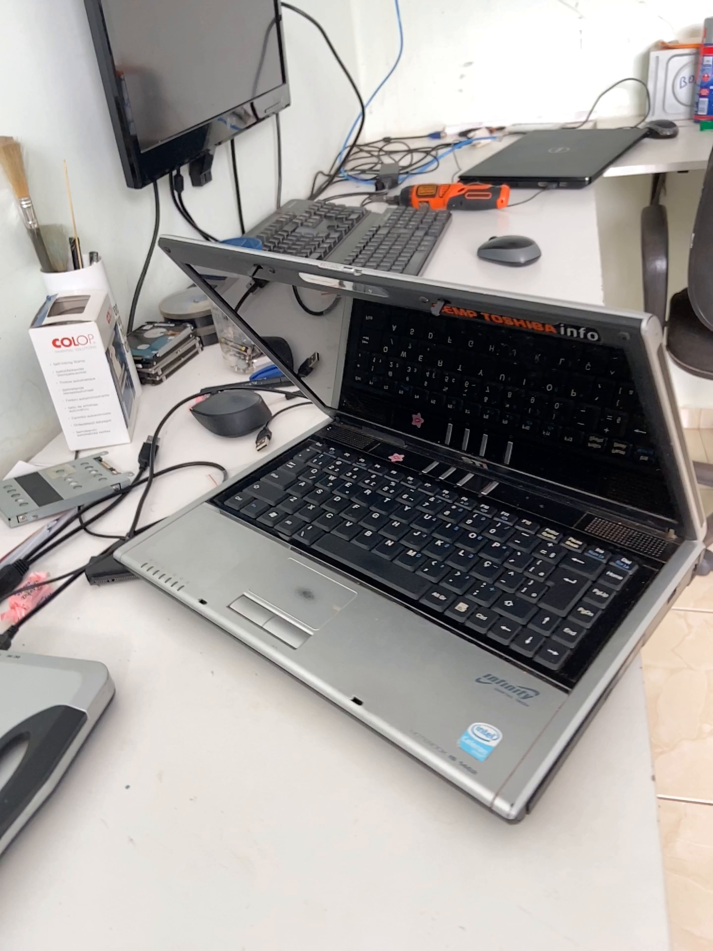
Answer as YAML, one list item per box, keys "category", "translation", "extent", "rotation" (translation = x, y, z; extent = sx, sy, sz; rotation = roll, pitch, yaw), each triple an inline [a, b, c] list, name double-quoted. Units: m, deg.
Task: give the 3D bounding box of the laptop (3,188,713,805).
- category: "laptop"
  translation: [0.010, -0.036, 0.455]
  extent: [0.338, 0.210, 0.236]
  rotation: [21, 41, 37]
